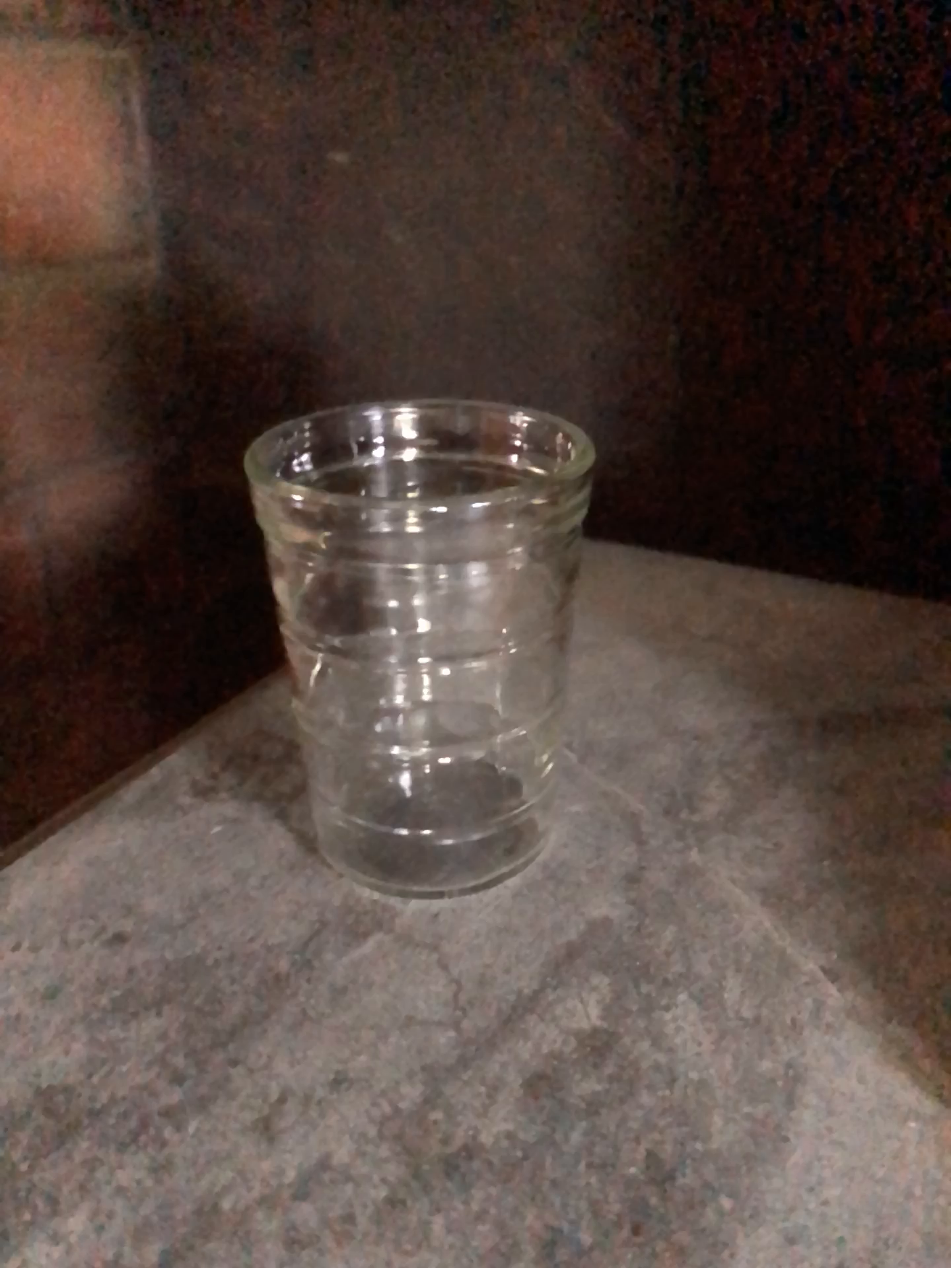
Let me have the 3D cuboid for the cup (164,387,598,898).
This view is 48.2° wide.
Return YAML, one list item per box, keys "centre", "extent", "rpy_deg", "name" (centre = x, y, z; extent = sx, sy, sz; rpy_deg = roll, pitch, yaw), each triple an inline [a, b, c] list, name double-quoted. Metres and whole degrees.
- centre: [-0.011, -0.002, 0.217]
  extent: [0.070, 0.080, 0.070]
  rpy_deg: [-2, 26, 1]
  name: "cup"
